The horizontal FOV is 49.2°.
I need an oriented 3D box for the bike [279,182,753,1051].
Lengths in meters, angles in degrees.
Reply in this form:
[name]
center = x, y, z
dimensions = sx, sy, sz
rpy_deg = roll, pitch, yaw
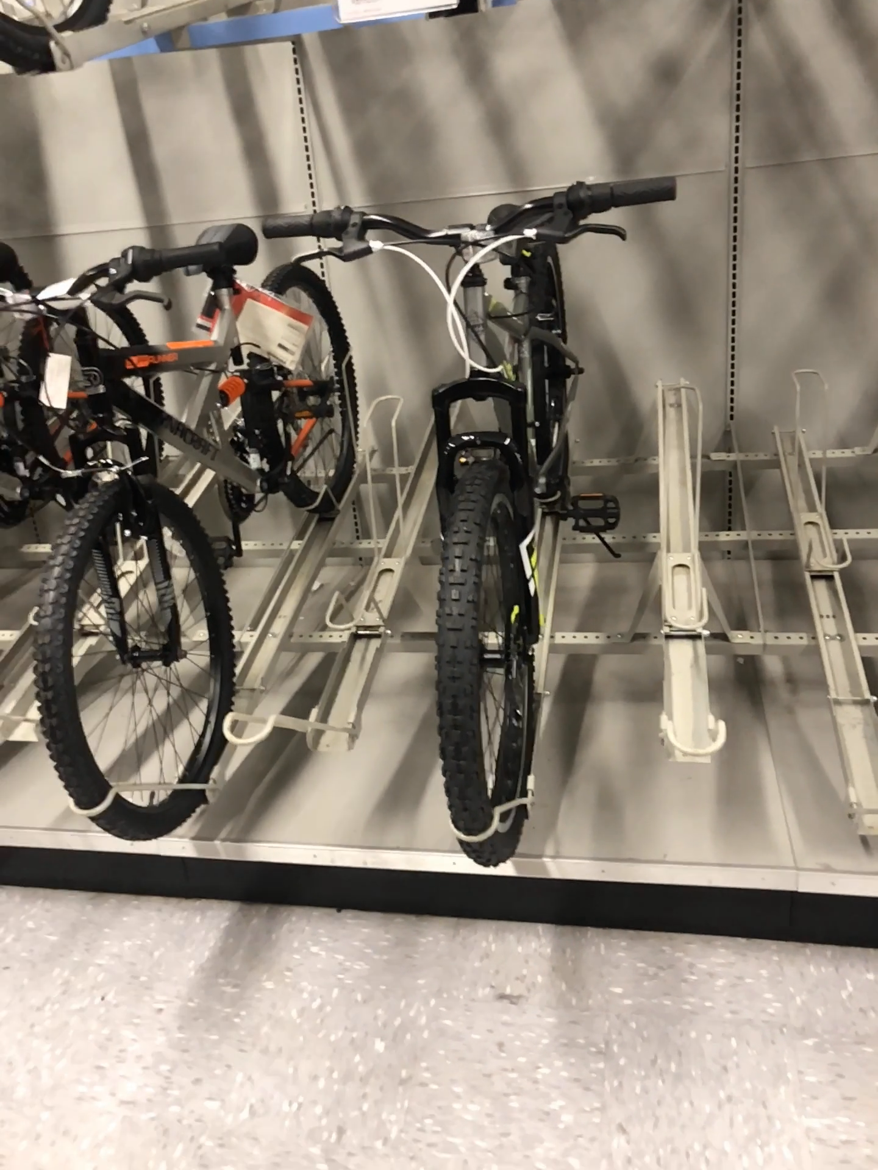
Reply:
[bike]
center = 0.267, -0.190, 2.020
dimensions = 0.607, 0.728, 1.726
rpy_deg = -1, 34, 14
